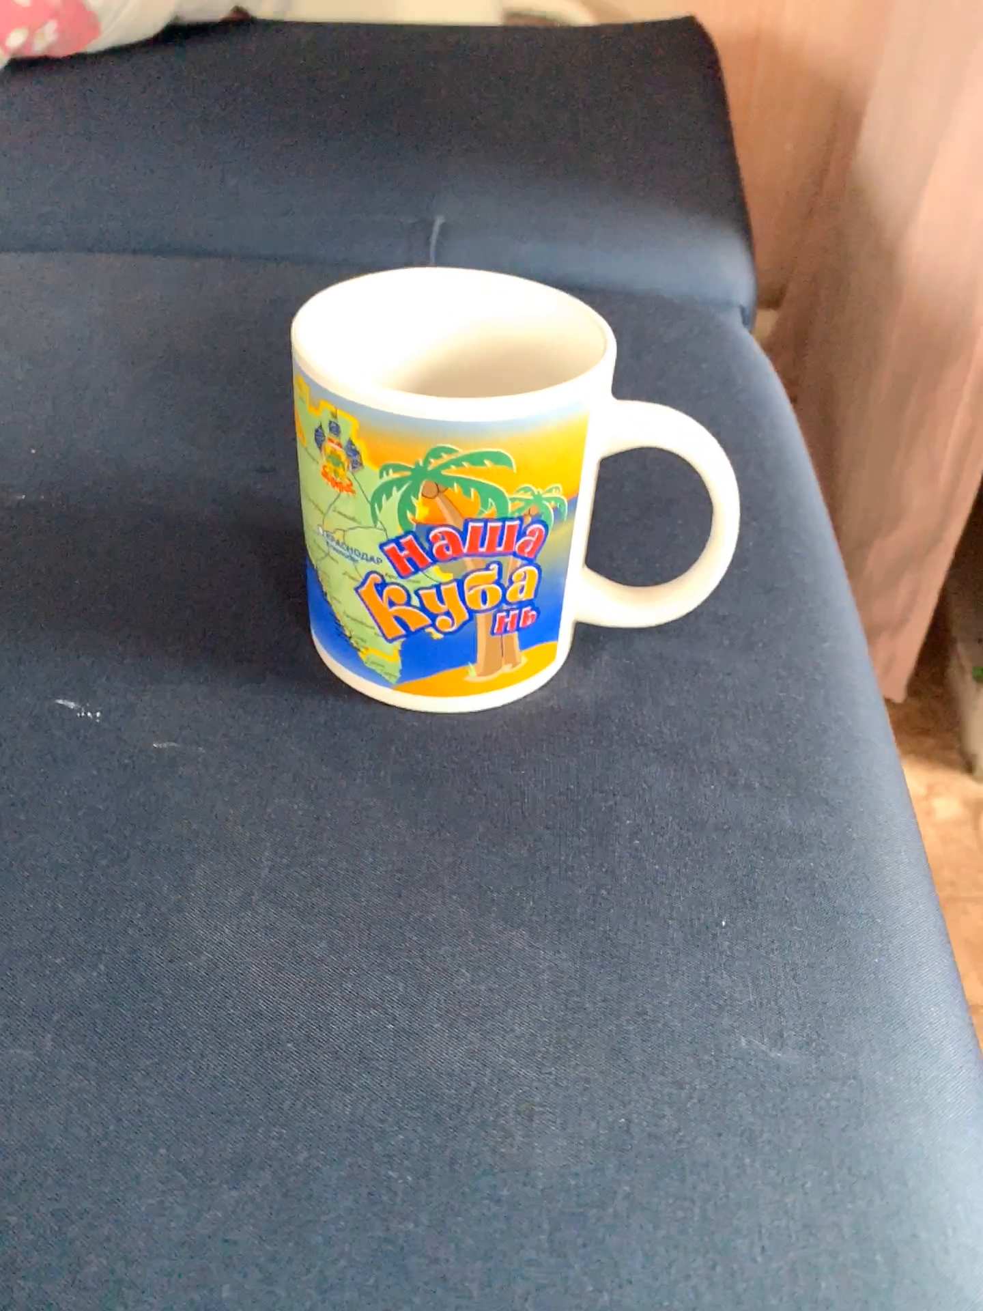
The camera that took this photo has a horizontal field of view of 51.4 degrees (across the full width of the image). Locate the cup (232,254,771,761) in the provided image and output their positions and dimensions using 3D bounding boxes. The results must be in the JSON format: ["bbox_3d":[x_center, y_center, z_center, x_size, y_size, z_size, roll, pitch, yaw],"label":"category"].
[{"bbox_3d":[0.006,-0.045,0.291,0.120,0.099,0.091,6,40,6],"label":"cup"}]
